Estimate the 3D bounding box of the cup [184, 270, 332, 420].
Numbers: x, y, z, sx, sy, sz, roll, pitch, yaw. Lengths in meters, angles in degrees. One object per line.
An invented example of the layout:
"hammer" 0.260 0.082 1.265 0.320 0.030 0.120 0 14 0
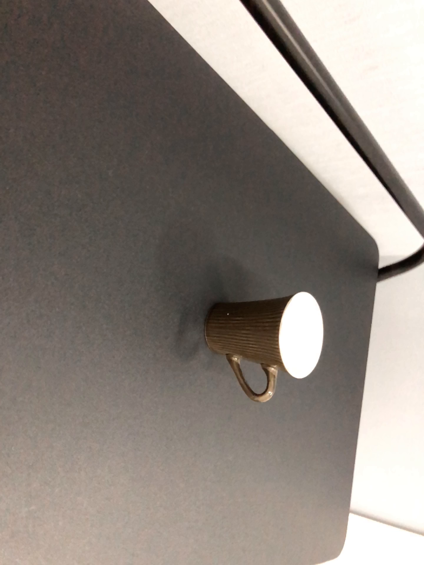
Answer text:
"cup" 0.037 0.046 0.357 0.065 0.069 0.089 38 62 -44
